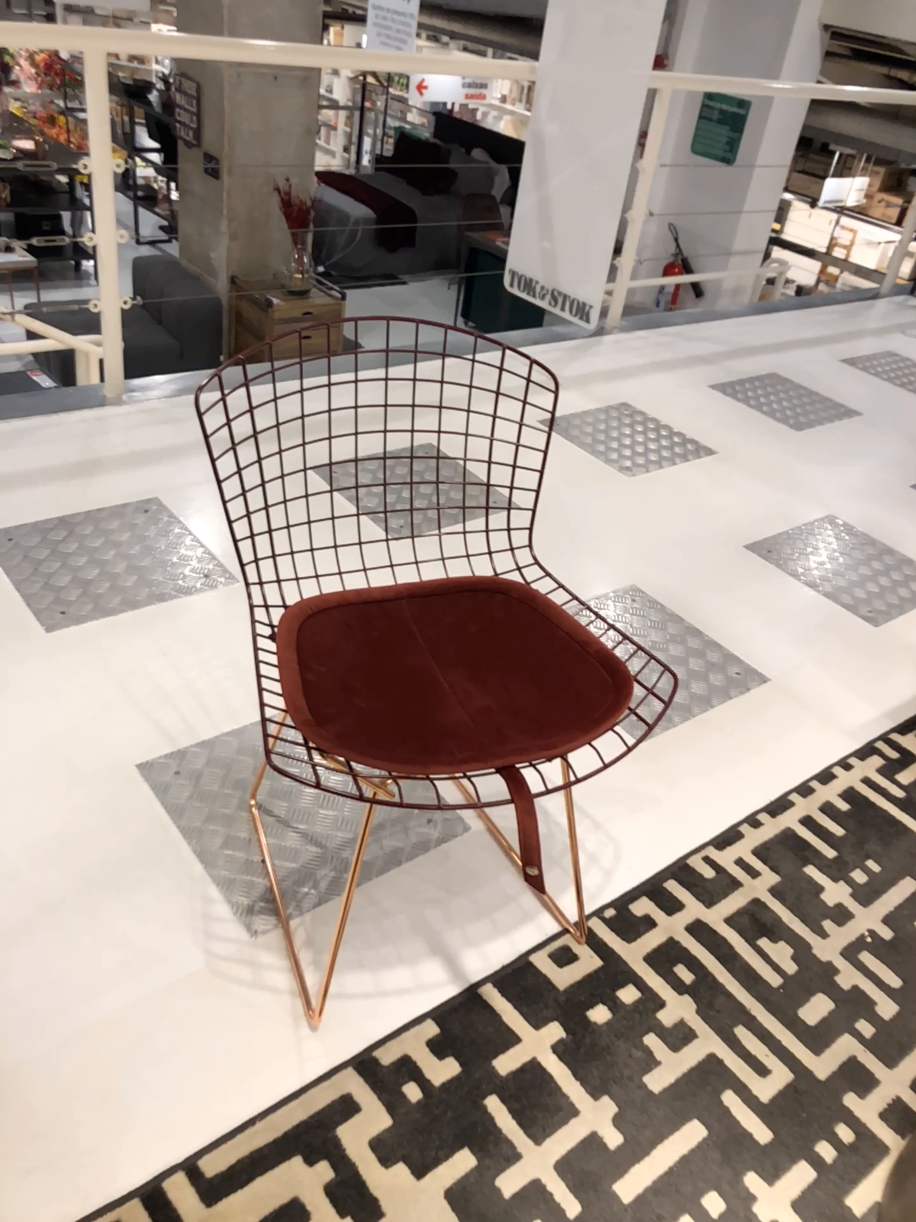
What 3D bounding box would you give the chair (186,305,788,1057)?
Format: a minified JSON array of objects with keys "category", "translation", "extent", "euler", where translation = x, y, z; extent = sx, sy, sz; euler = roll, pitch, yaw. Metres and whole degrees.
[{"category":"chair","translation":[-0.045,0.063,1.319],"extent":[0.511,0.764,0.503],"euler":[-7,37,-24]}]
